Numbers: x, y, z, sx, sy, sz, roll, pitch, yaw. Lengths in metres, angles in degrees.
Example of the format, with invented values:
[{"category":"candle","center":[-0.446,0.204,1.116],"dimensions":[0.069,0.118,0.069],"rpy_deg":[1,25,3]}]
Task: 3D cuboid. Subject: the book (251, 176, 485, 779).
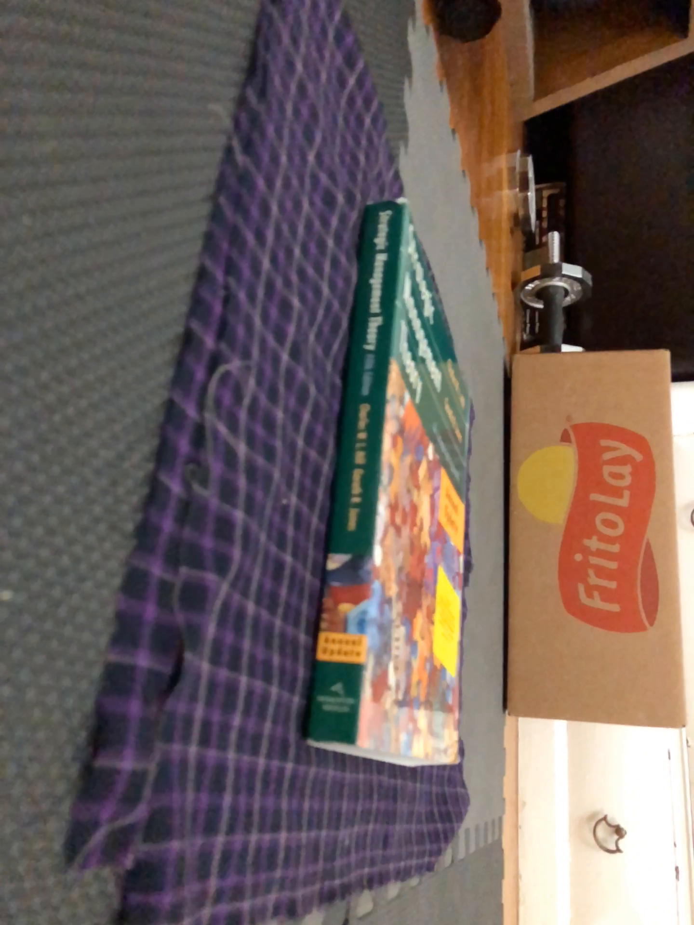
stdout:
[{"category":"book","center":[0.035,0.027,0.442],"dimensions":[0.231,0.040,0.280],"rpy_deg":[53,41,-60]}]
